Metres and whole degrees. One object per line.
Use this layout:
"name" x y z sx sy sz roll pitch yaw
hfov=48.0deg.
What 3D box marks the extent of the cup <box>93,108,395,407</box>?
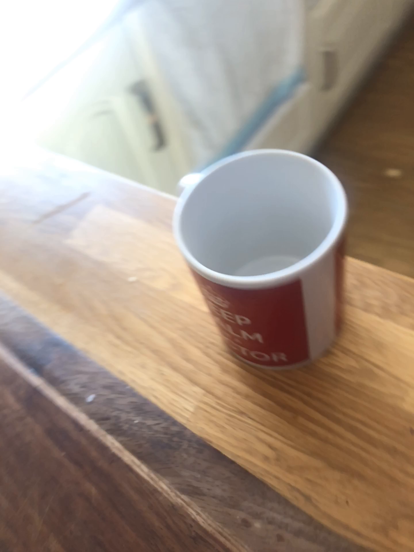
"cup" 0.023 -0.013 0.266 0.123 0.094 0.089 35 74 32
